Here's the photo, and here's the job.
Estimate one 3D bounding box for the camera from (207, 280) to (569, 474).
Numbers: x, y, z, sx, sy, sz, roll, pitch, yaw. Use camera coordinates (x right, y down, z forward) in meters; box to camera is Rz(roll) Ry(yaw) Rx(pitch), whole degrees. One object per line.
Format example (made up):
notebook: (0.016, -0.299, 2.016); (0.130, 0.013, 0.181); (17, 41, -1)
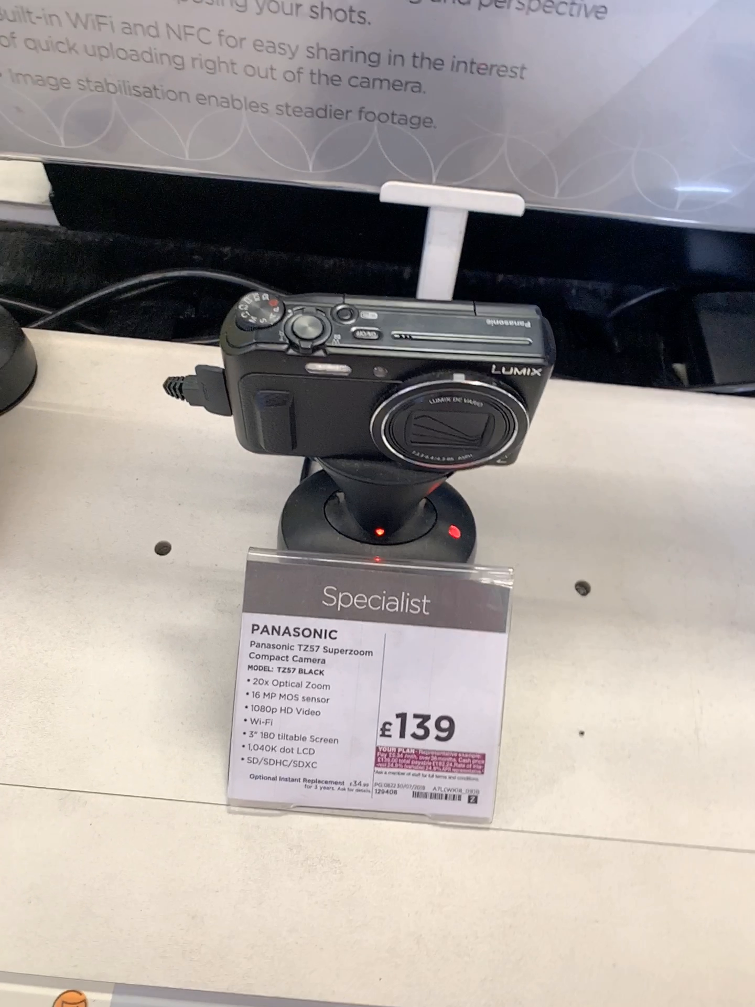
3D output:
camera: (0.002, -0.041, 0.271); (0.111, 0.060, 0.030); (3, 60, -2)
